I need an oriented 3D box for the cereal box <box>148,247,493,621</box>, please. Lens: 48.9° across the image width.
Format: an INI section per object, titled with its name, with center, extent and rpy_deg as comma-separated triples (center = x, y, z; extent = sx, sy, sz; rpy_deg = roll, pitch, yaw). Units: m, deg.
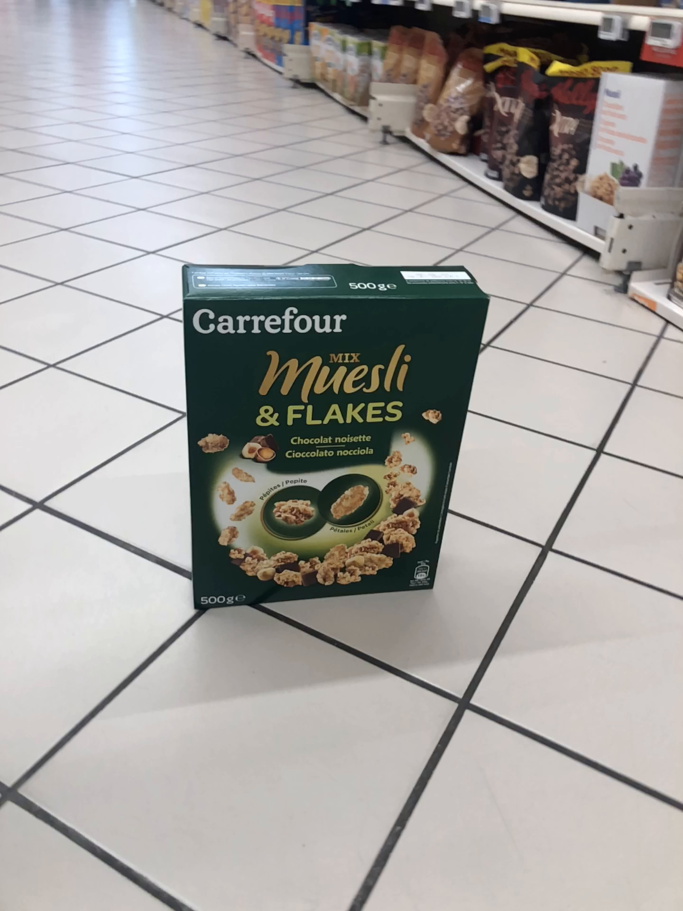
[cereal box]
center = -0.025, -0.009, 0.530
extent = 0.200, 0.248, 0.080
rpy_deg = -2, 34, -11
